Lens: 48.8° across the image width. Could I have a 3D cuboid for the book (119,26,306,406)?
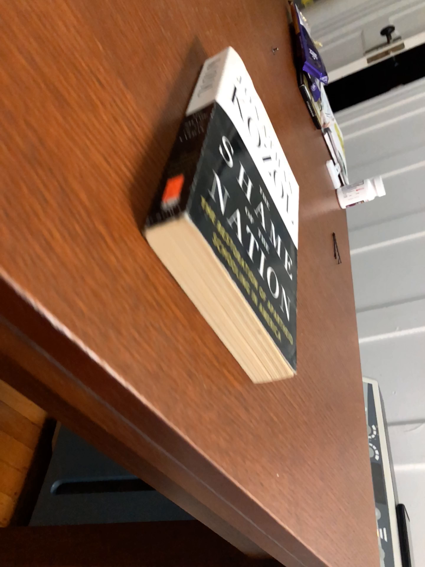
[{"bbox_3d":[0.024,-0.058,0.333,0.160,0.030,0.231,55,32,-36],"label":"book"}]
